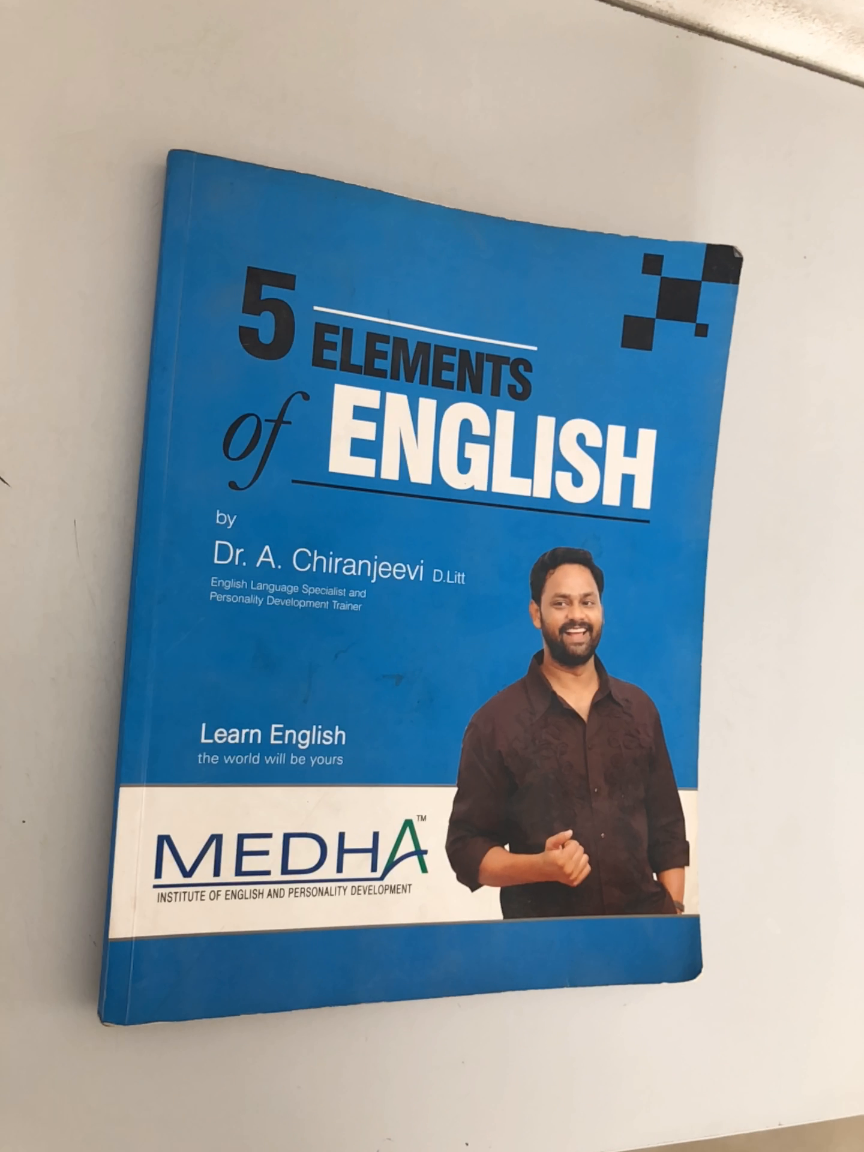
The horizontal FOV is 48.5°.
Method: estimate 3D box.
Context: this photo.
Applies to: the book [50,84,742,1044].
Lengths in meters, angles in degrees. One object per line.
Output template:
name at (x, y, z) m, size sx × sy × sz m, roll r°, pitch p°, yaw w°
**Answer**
book at (0.001, -0.001, 0.259) m, size 0.180 × 0.020 × 0.220 m, roll 4°, pitch 85°, yaw -20°
